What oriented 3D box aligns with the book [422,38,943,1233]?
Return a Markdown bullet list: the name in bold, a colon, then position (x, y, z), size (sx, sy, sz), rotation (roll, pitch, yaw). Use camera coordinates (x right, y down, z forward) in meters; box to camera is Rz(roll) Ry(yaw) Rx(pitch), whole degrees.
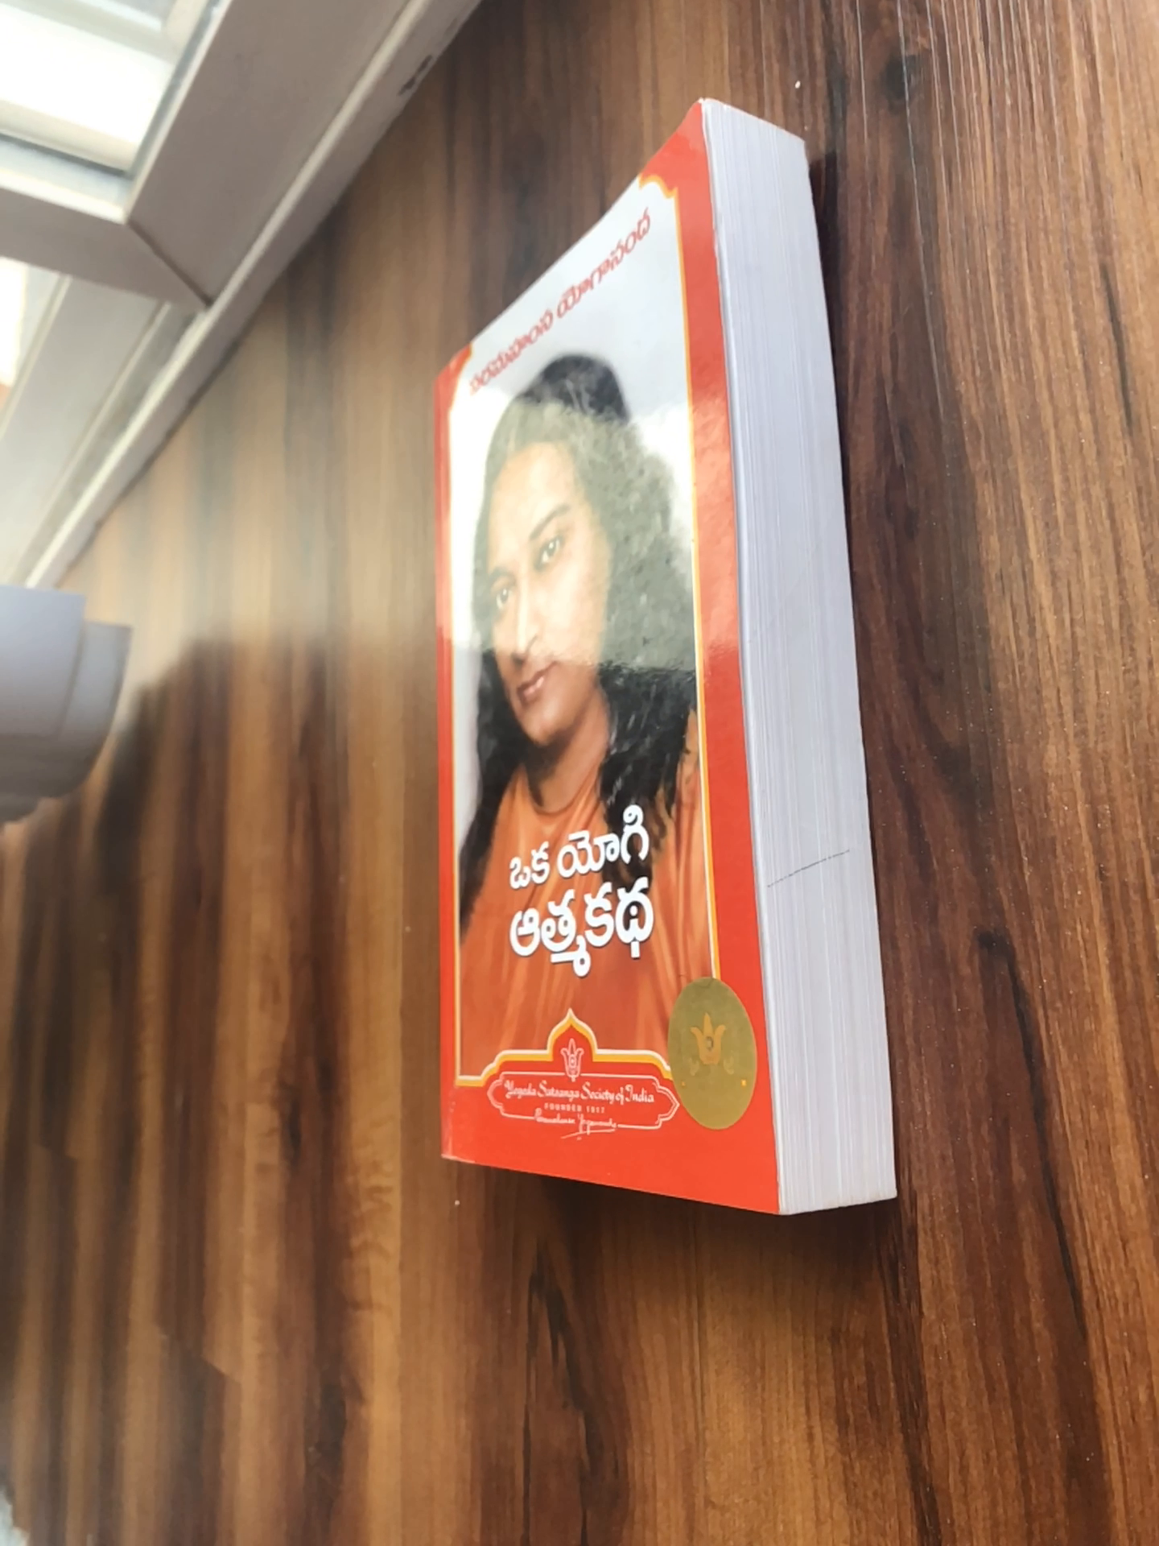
- **book**: position (0.009, -0.019, 0.294), size (0.148, 0.030, 0.214), rotation (-18, 71, 58)
